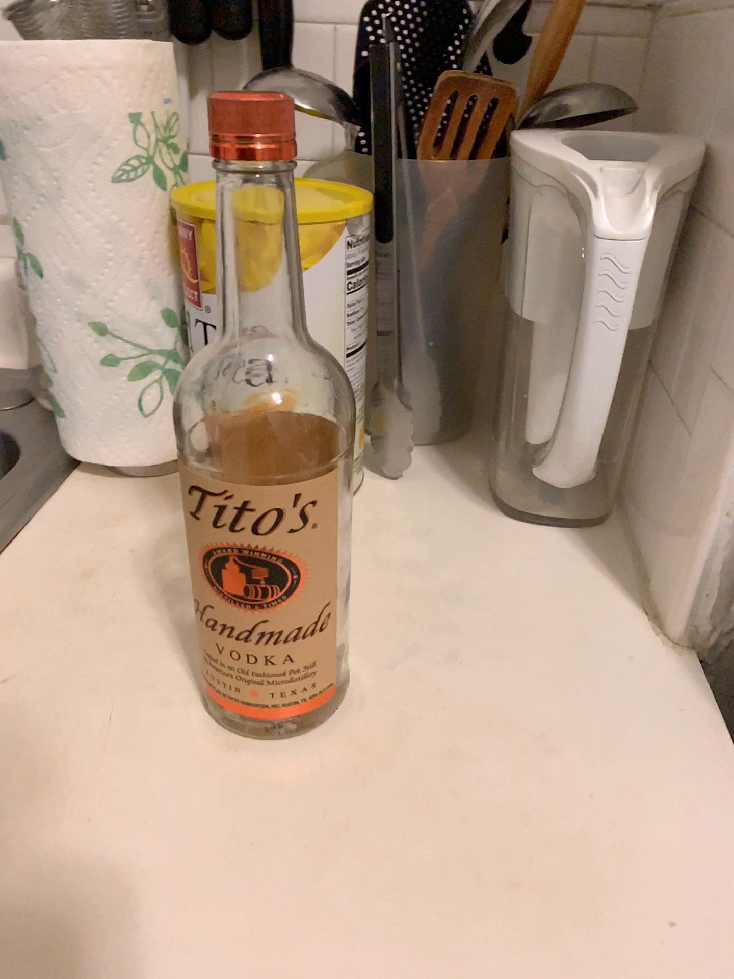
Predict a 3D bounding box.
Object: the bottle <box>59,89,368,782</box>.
[{"bbox_3d":[-0.054,-0.011,0.333,0.080,0.288,0.080,2,29,-1],"label":"bottle"}]
